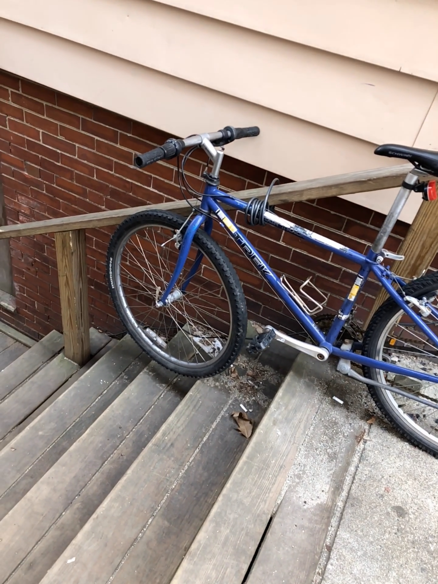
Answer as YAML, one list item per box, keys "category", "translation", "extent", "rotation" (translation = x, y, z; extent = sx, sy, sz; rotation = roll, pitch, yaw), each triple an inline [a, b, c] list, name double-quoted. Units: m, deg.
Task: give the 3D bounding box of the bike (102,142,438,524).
- category: "bike"
  translation: [0.335, -0.006, 1.577]
  extent: [1.521, 0.619, 0.535]
  rotation: [18, 36, 23]
